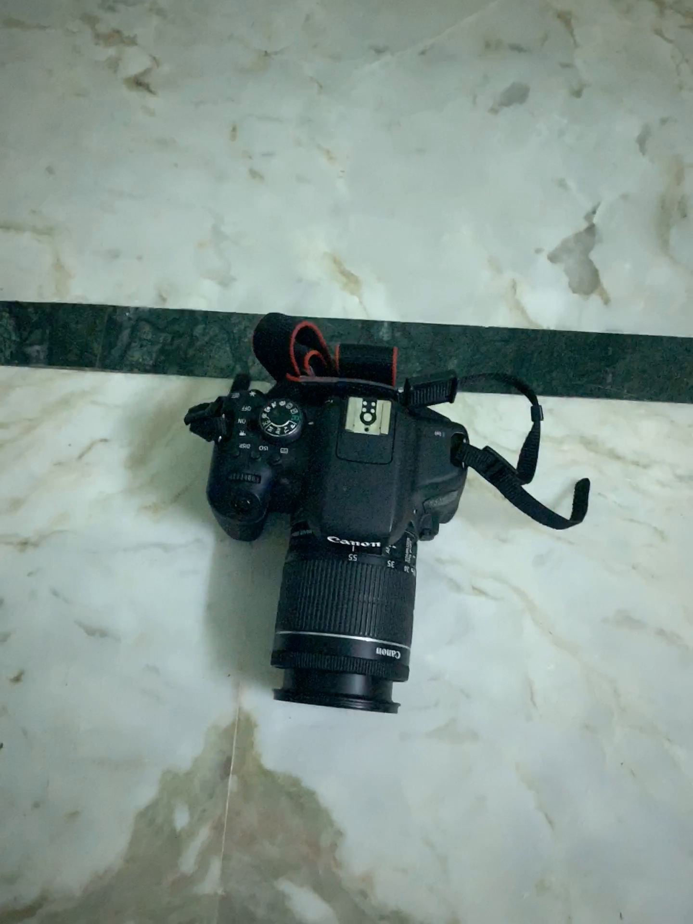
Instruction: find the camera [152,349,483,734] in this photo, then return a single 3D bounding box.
[{"bbox_3d":[-0.007,0.044,0.356,0.128,0.100,0.160,5,69,1],"label":"camera"}]
